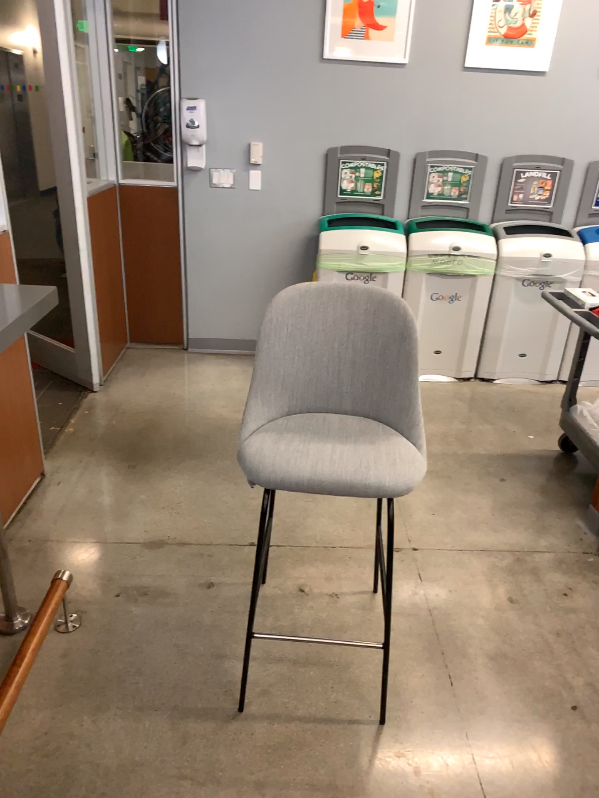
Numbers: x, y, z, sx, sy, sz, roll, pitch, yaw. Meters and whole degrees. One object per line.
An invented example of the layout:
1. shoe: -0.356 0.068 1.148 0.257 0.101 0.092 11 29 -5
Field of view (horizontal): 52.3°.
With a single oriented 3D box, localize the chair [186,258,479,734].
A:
1. chair: 0.056 0.230 1.820 0.590 1.095 0.814 4 24 1
